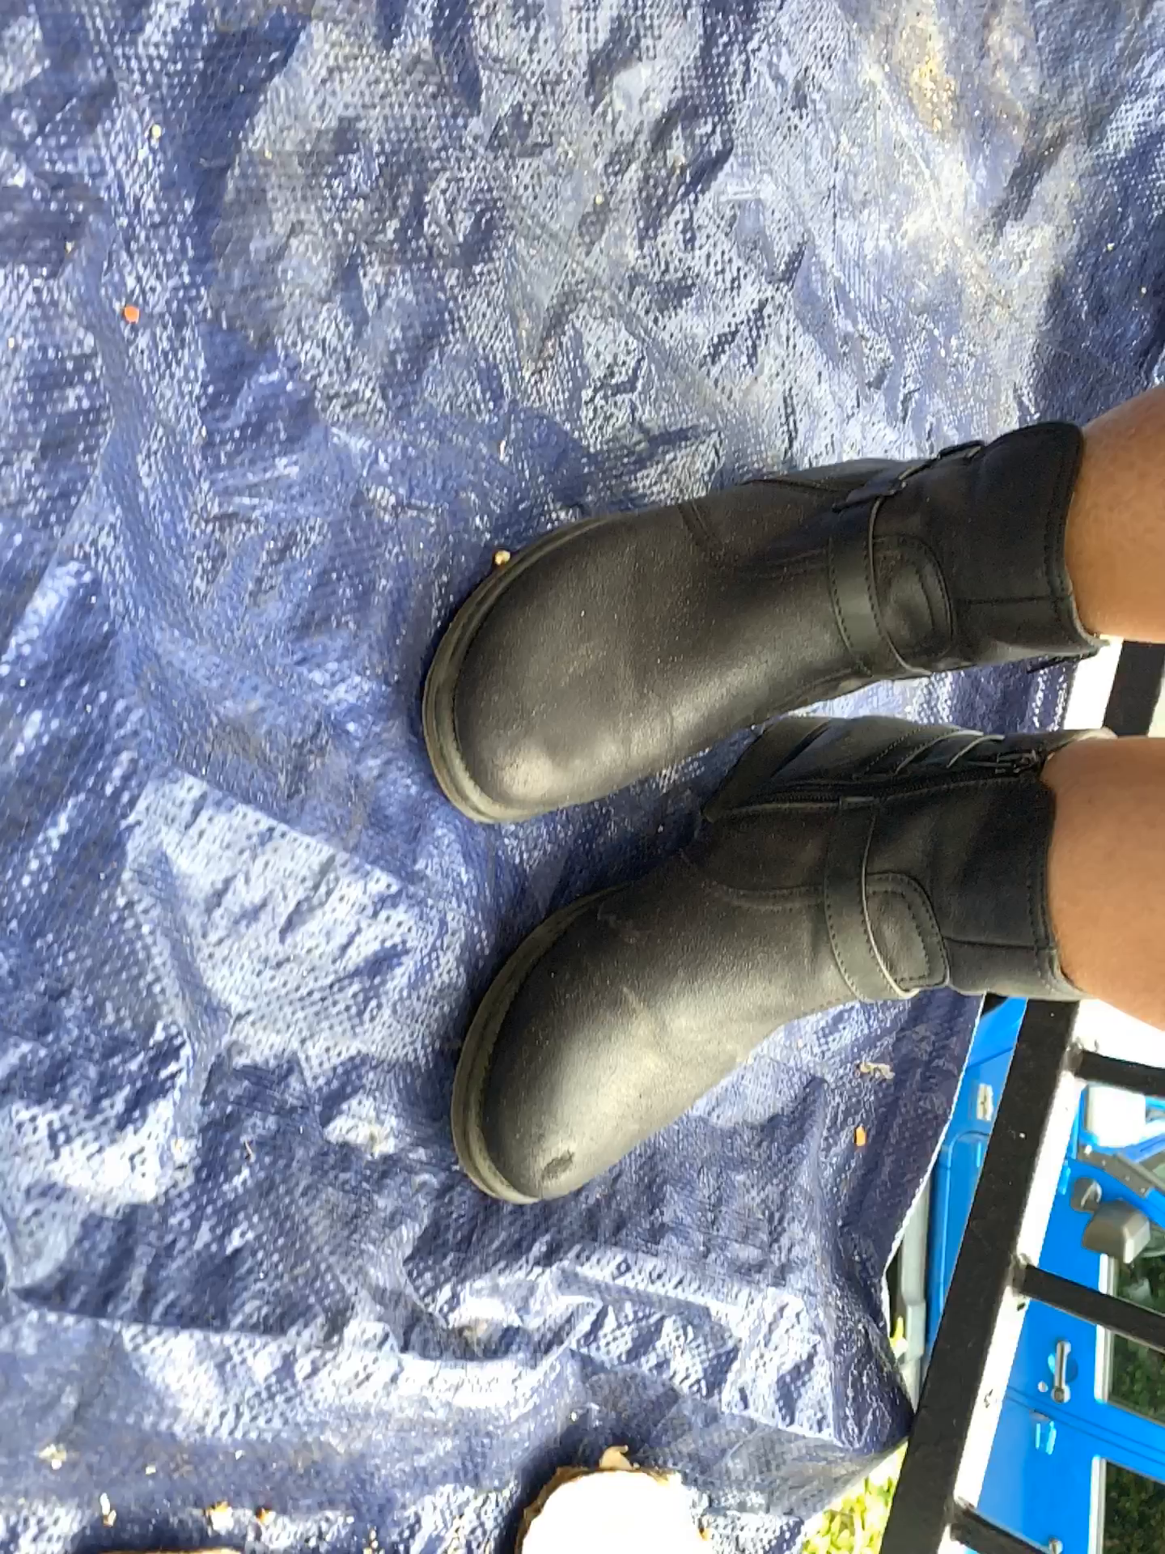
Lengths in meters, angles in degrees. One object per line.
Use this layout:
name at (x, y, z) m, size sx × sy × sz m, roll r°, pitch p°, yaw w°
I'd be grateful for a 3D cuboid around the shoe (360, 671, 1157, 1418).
shoe at (0.082, 0.063, 0.426) m, size 0.281 × 0.109 × 0.110 m, roll -29°, pitch 111°, yaw -36°

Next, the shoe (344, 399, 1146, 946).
shoe at (0.076, -0.053, 0.444) m, size 0.281 × 0.129 × 0.100 m, roll -26°, pitch 109°, yaw -36°
